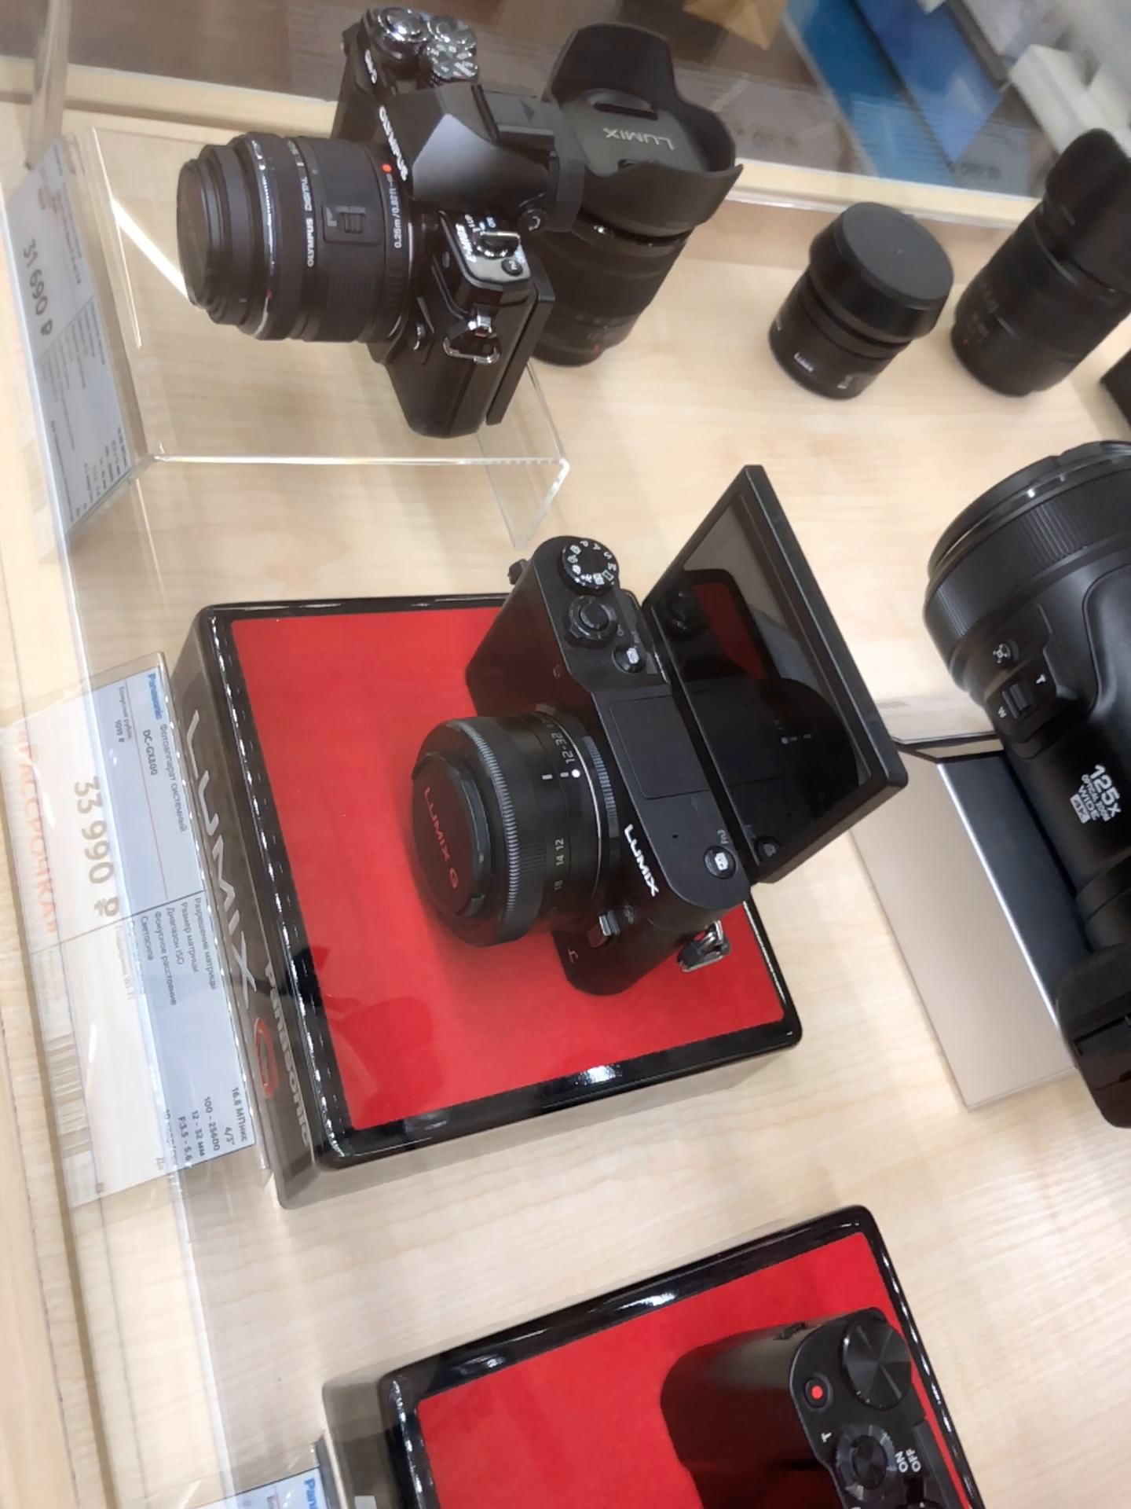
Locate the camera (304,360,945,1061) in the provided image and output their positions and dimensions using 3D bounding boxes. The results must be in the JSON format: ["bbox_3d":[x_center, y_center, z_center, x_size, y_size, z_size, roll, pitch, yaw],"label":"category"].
[{"bbox_3d":[0.001,-0.007,0.289,0.070,0.120,0.108,-10,67,-30],"label":"camera"}]

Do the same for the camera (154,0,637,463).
[{"bbox_3d":[-0.056,-0.157,0.376,0.103,0.080,0.108,-6,65,-28],"label":"camera"}]
